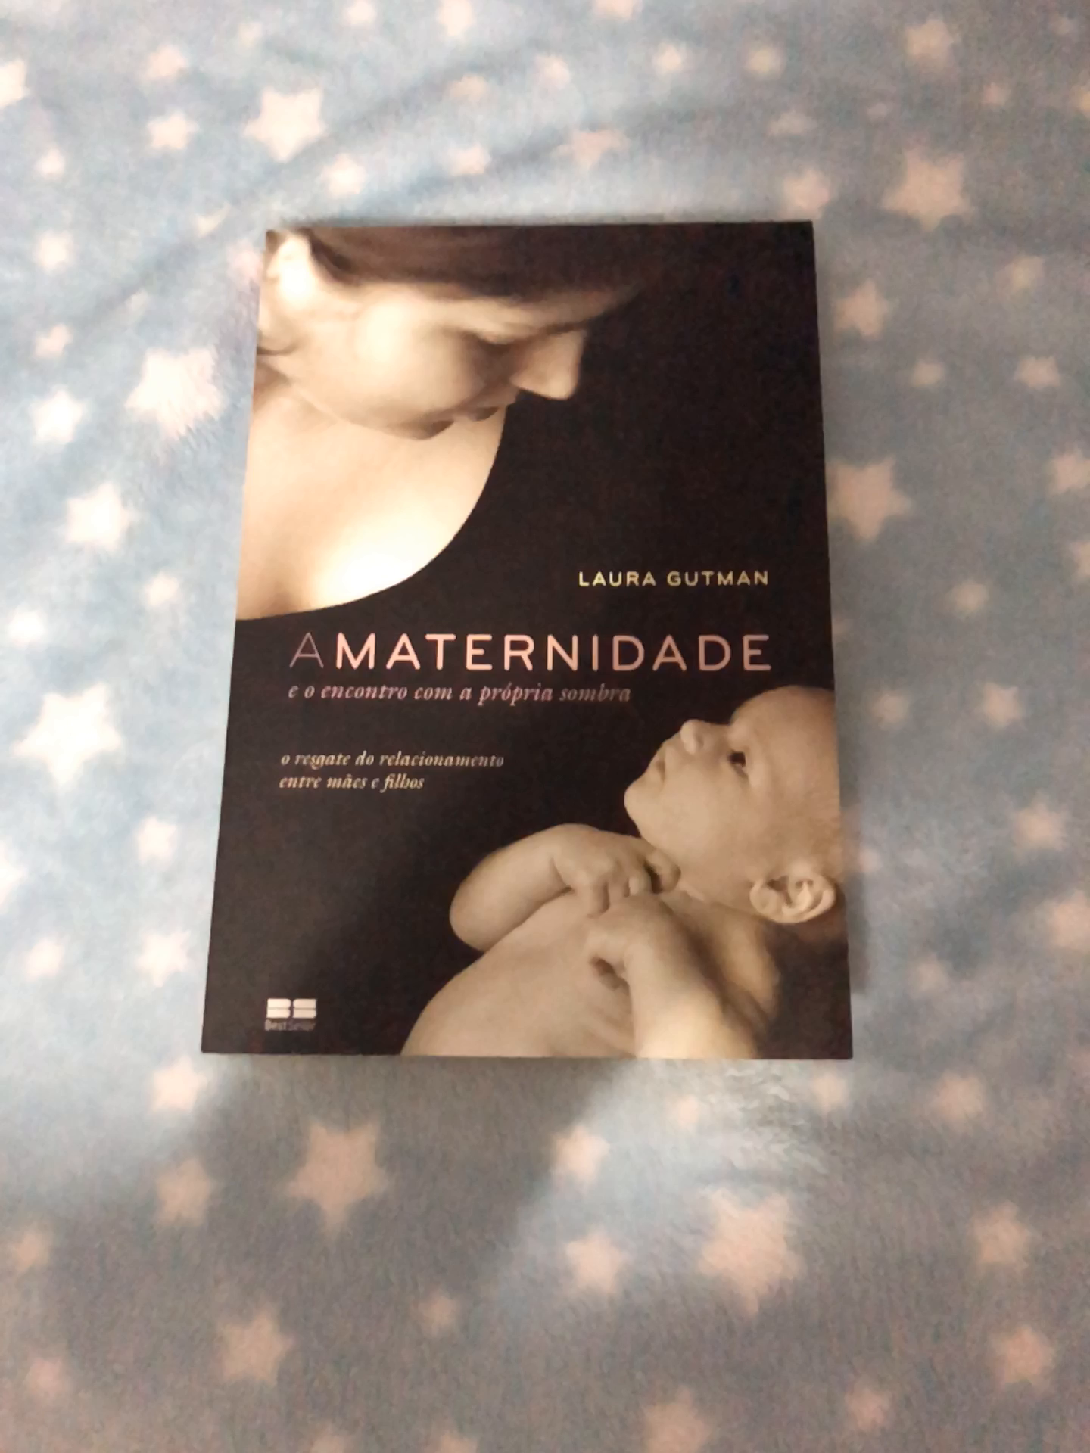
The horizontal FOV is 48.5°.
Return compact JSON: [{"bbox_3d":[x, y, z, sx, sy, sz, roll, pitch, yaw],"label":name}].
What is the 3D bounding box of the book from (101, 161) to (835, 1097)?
[{"bbox_3d":[-0.015,-0.033,0.309,0.160,0.030,0.240,1,74,2],"label":"book"}]
